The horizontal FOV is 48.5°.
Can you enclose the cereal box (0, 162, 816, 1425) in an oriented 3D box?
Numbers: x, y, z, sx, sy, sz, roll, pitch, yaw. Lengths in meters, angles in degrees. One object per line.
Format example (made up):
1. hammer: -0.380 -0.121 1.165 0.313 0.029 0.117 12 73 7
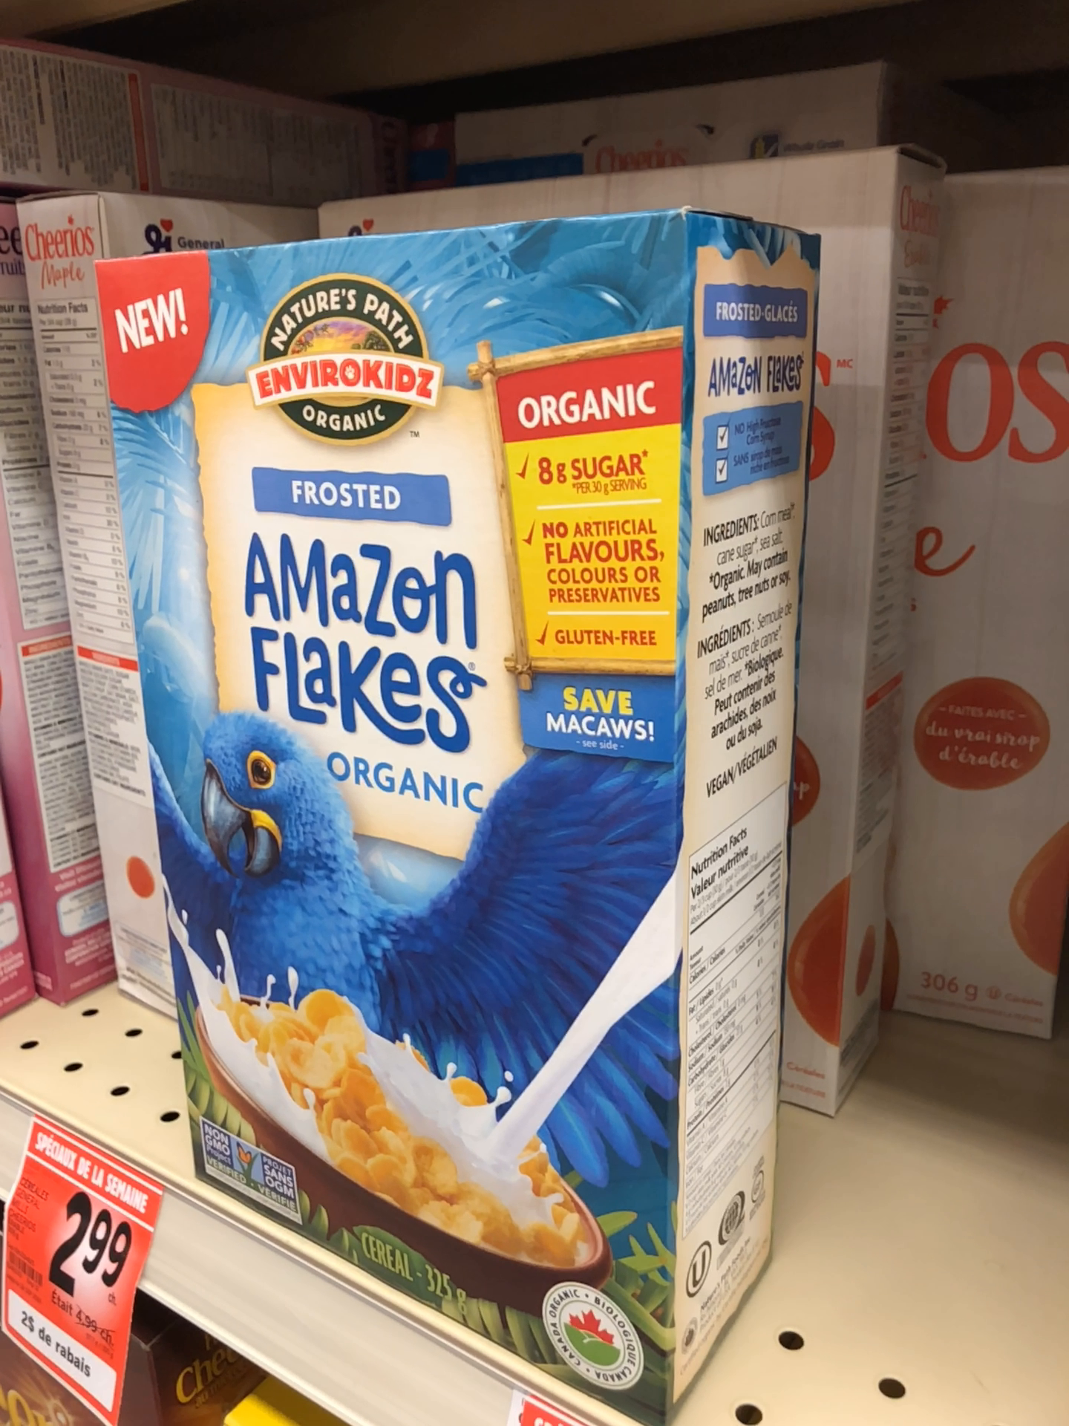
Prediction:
1. cereal box: -0.031 0.020 0.272 0.170 0.249 0.050 10 21 34
